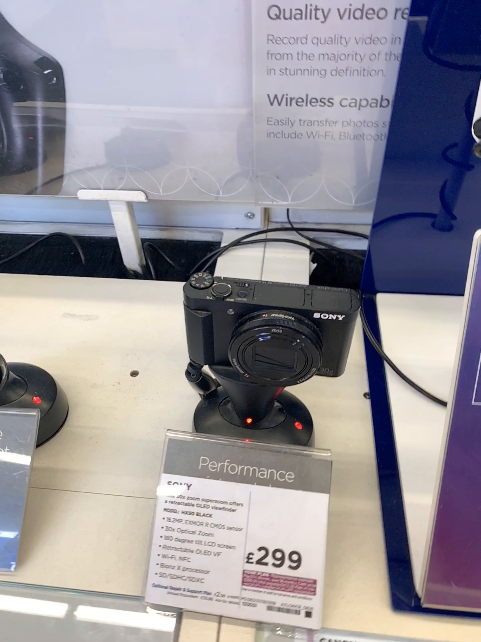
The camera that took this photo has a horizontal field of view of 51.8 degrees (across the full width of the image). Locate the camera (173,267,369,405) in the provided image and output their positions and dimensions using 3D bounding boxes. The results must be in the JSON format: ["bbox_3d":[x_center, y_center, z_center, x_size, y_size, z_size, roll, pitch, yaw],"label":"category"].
[{"bbox_3d":[0.017,0.009,0.287,0.100,0.059,0.040,6,45,5],"label":"camera"}]
